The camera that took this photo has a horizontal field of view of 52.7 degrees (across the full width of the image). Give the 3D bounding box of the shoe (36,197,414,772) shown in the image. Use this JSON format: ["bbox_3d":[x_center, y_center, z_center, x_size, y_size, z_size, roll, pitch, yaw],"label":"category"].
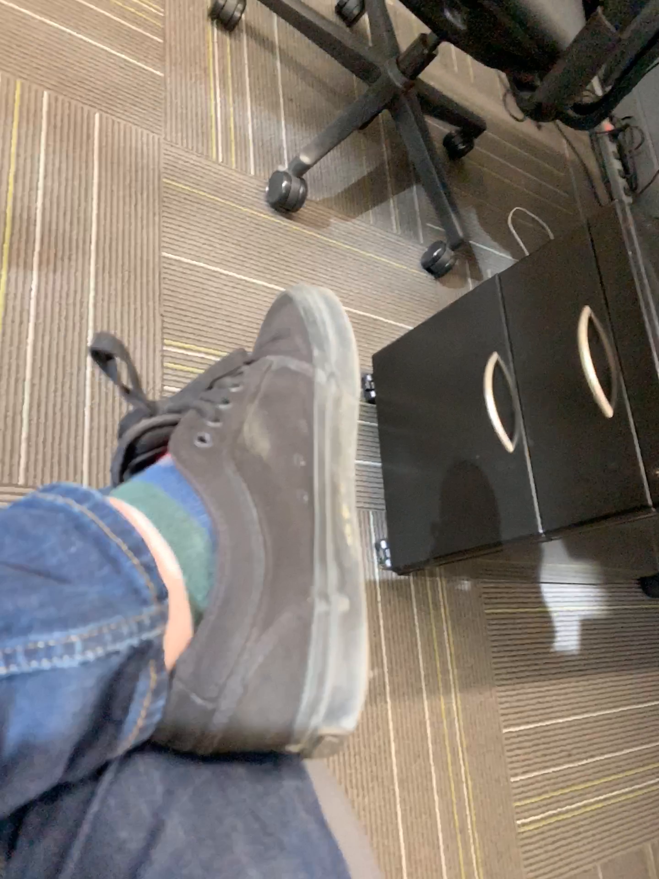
[{"bbox_3d":[-0.048,0.029,0.365,0.135,0.120,0.260,17,62,-22],"label":"shoe"}]
